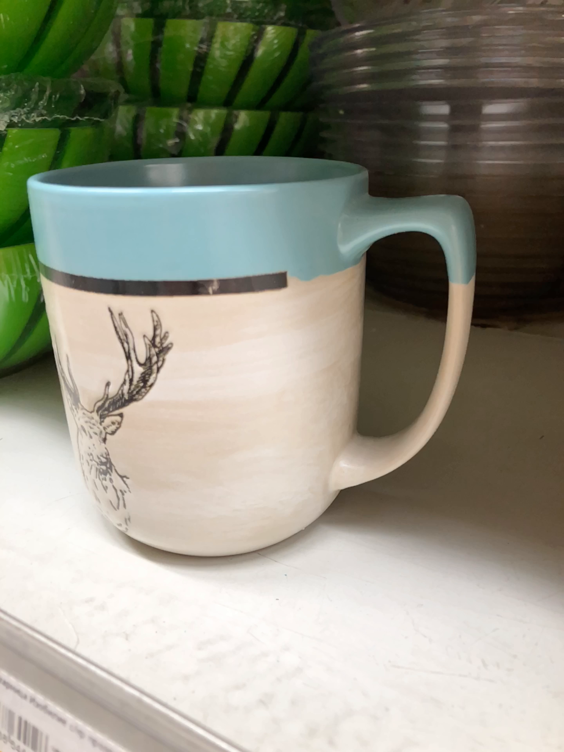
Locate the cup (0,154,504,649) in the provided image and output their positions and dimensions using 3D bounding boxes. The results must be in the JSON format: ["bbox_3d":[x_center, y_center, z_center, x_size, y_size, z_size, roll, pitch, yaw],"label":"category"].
[{"bbox_3d":[-0.007,-0.009,0.190,0.123,0.102,0.094,8,24,21],"label":"cup"}]
